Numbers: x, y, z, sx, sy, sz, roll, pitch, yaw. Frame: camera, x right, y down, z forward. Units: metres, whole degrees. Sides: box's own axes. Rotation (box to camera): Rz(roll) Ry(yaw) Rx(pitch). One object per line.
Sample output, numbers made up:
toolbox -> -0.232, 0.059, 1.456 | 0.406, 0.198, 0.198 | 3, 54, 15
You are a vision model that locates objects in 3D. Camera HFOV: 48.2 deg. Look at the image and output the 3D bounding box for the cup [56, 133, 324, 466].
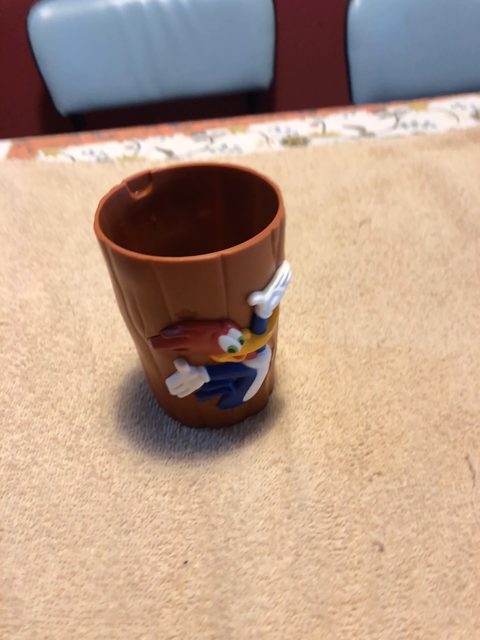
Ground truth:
cup -> -0.020, -0.013, 0.259 | 0.080, 0.109, 0.091 | -25, 44, -21
